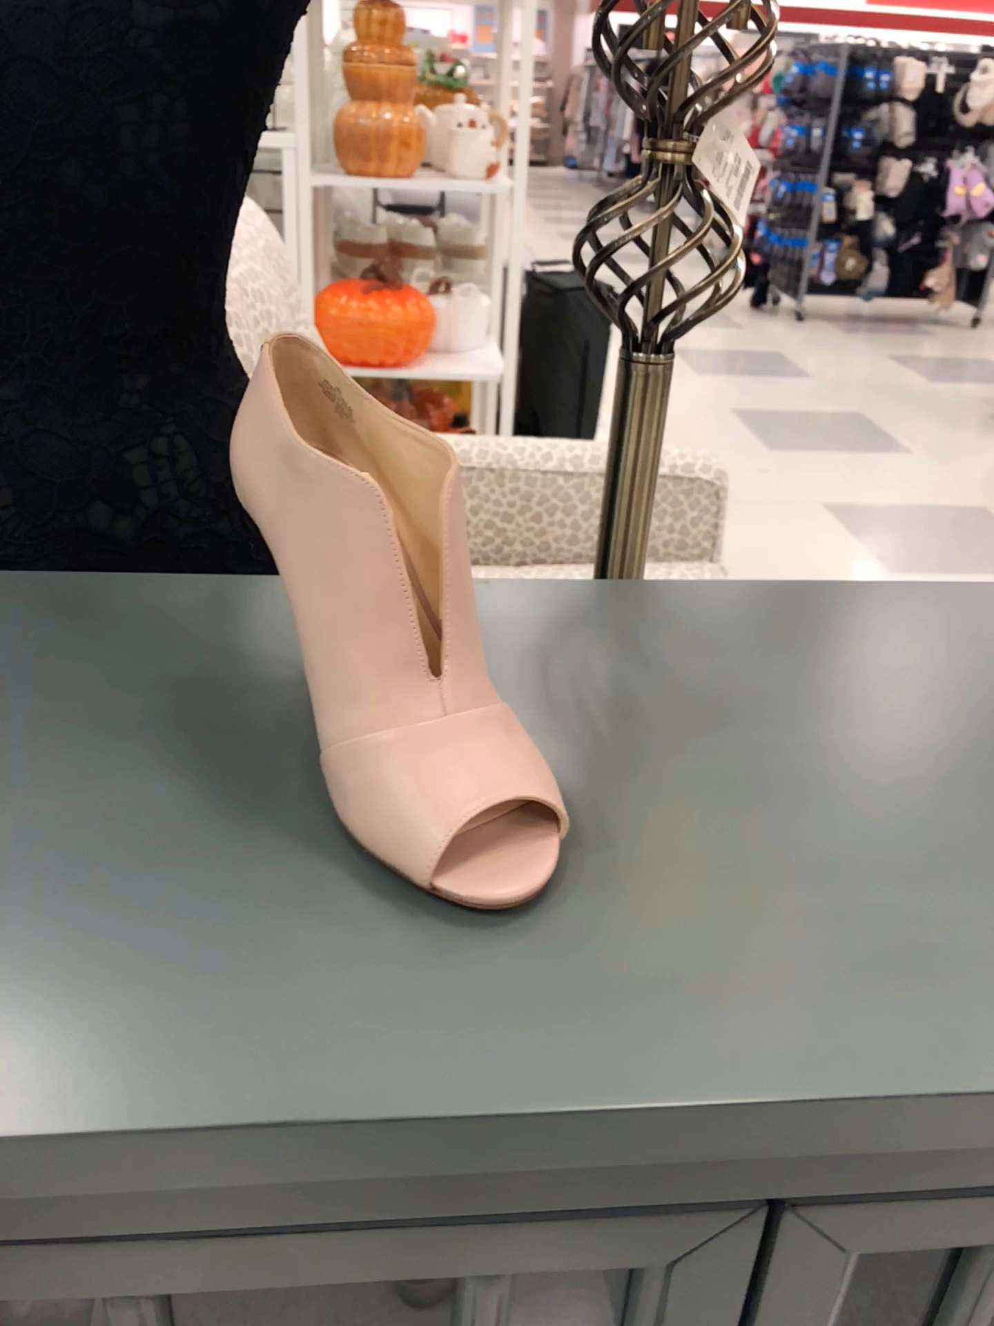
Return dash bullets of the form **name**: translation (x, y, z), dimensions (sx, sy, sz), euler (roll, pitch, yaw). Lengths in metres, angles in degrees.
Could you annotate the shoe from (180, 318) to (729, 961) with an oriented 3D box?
- **shoe**: translation (-0.034, -0.031, 0.420), dimensions (0.097, 0.151, 0.225), euler (-13, 32, -28)
